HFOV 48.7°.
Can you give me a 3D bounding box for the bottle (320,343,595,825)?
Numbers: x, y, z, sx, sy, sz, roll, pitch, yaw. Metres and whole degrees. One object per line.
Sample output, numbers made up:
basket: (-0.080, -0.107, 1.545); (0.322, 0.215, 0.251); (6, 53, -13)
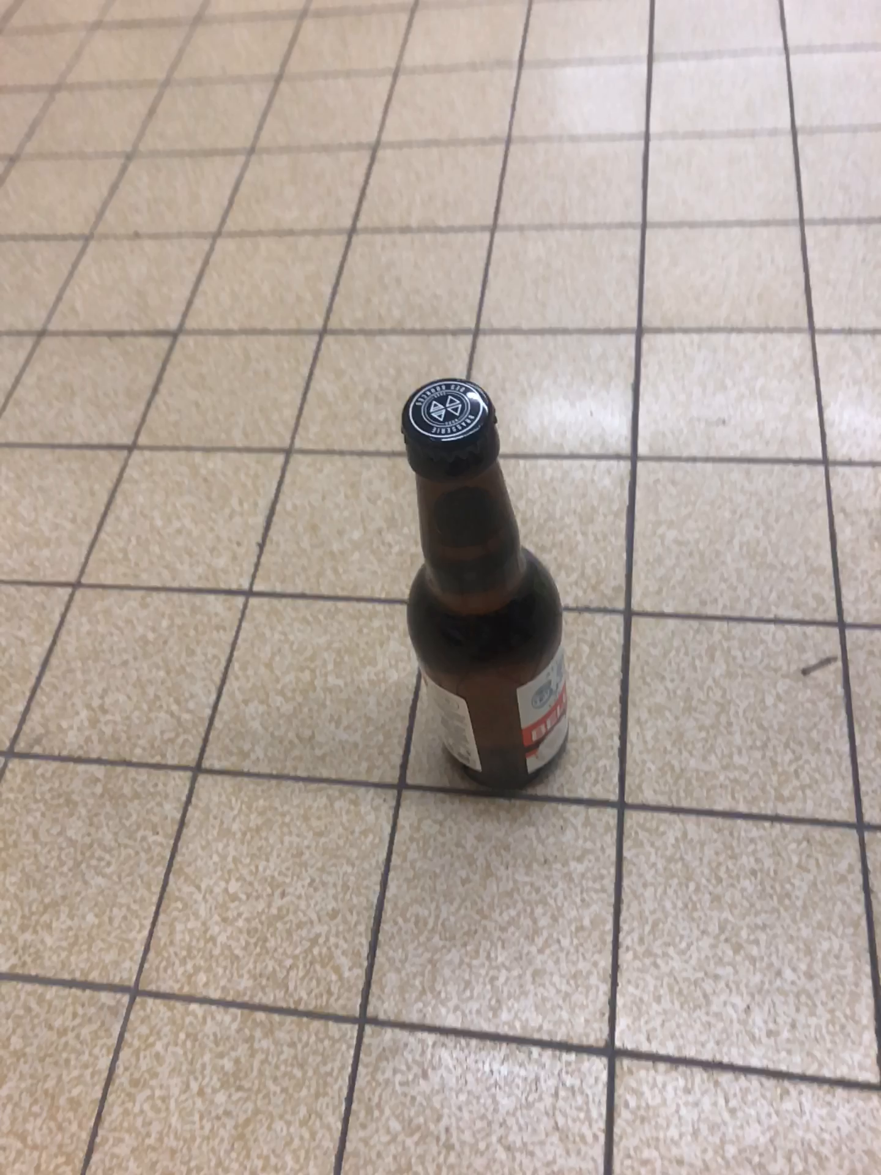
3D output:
bottle: (0.017, 0.017, 0.363); (0.070, 0.219, 0.060); (-9, 56, 4)
